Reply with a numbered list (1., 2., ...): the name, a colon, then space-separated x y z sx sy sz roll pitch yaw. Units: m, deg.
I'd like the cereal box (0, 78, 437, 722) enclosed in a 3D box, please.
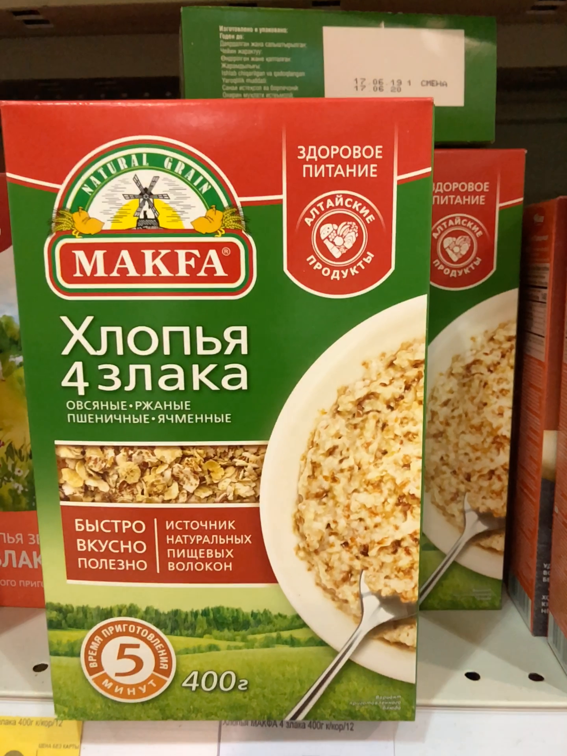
1. cereal box: -0.025 0.012 0.226 0.140 0.209 0.050 0 11 1
